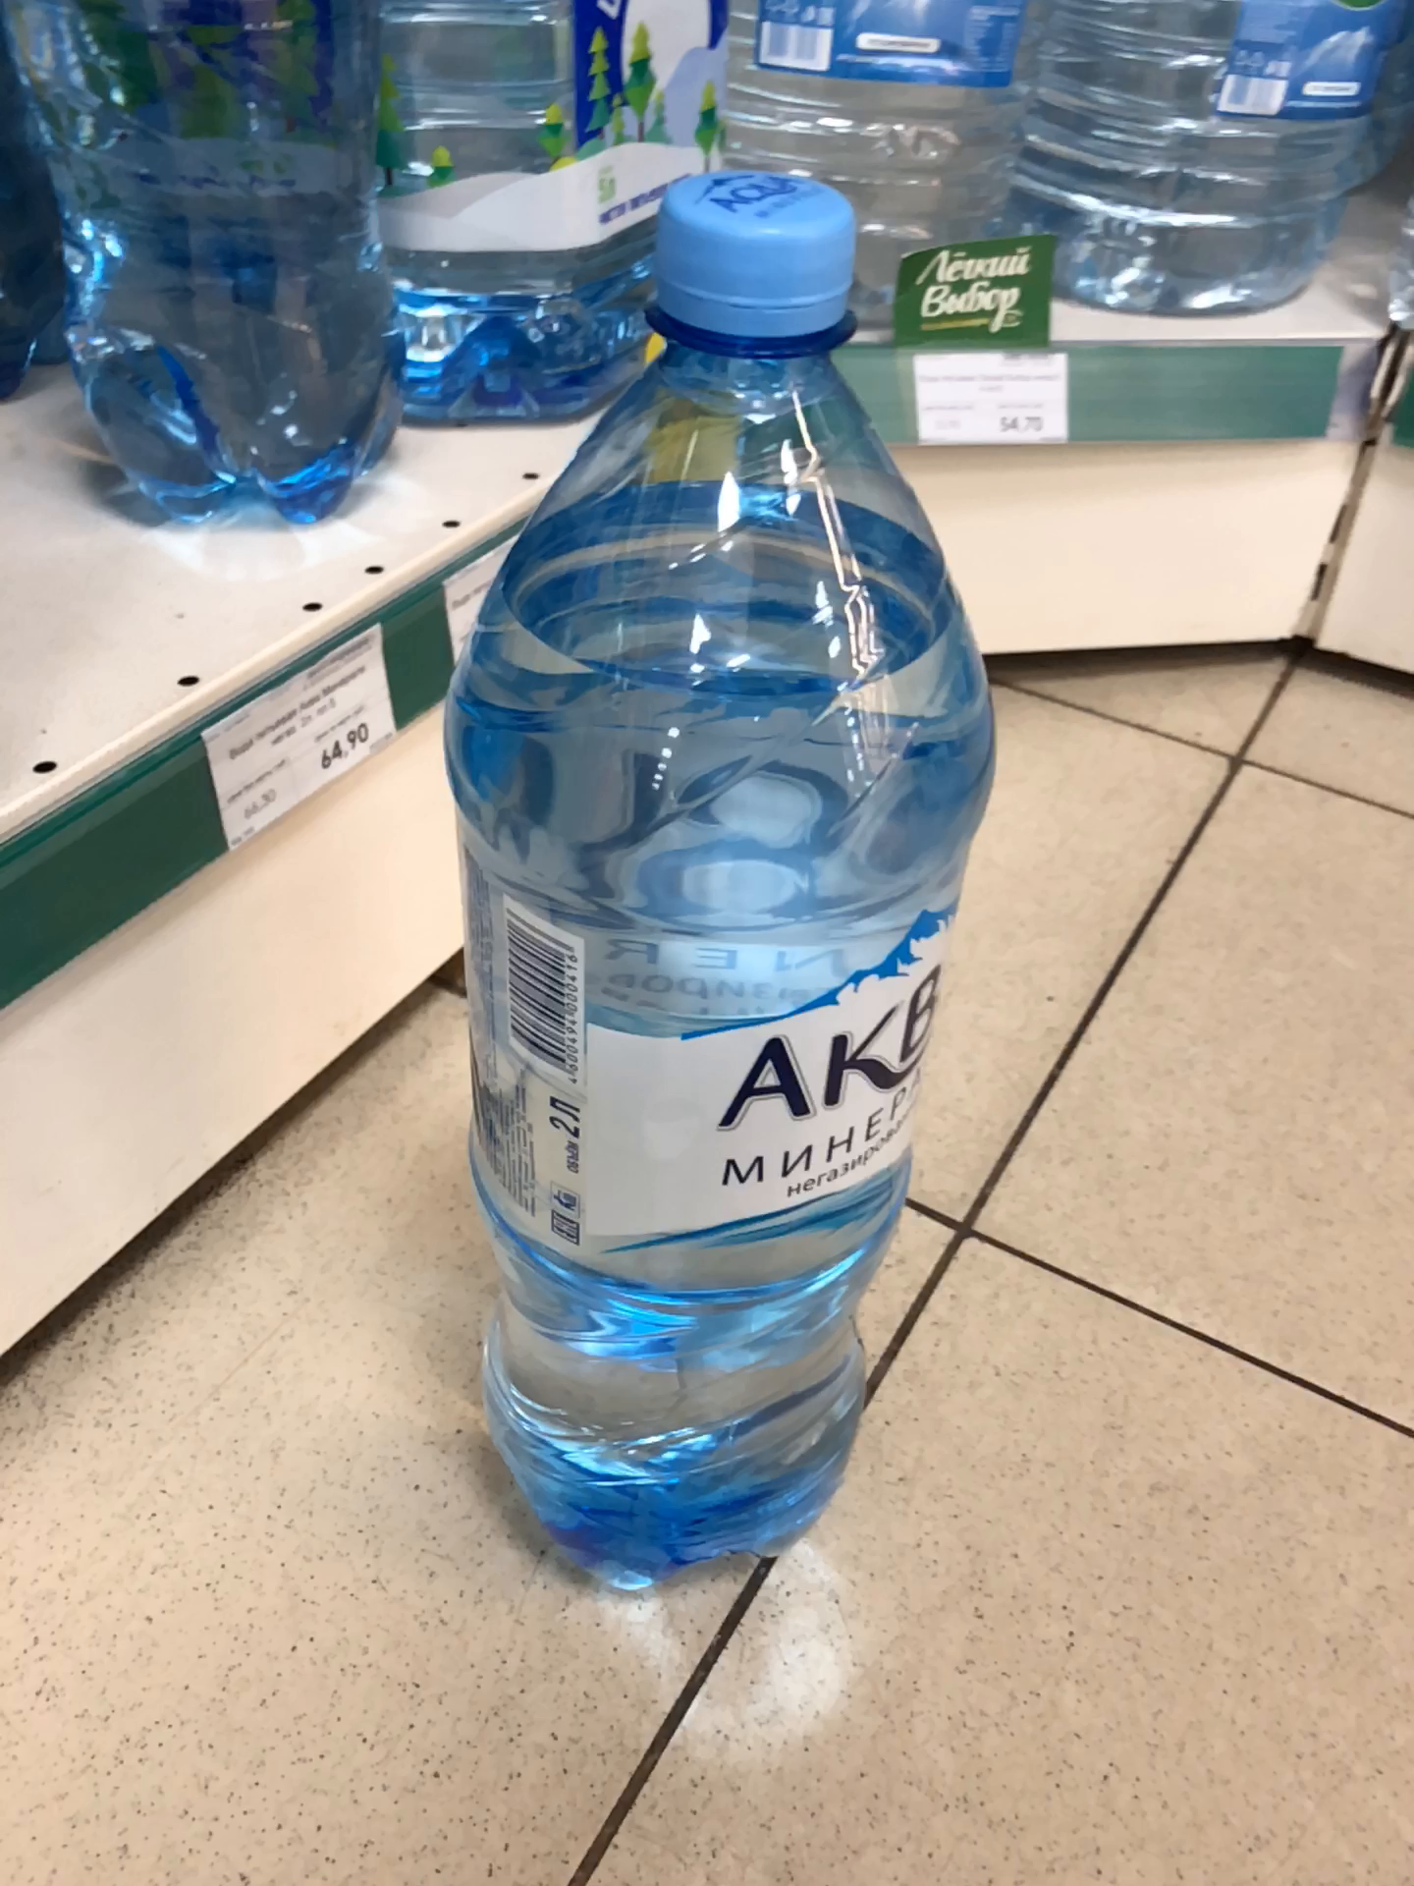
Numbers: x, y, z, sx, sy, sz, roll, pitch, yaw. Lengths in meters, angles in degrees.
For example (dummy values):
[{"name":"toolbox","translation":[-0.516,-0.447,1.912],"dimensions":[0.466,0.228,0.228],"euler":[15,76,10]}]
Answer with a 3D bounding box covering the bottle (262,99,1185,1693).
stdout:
[{"name":"bottle","translation":[0.000,0.016,0.332],"dimensions":[0.088,0.322,0.106],"euler":[29,47,28]}]
